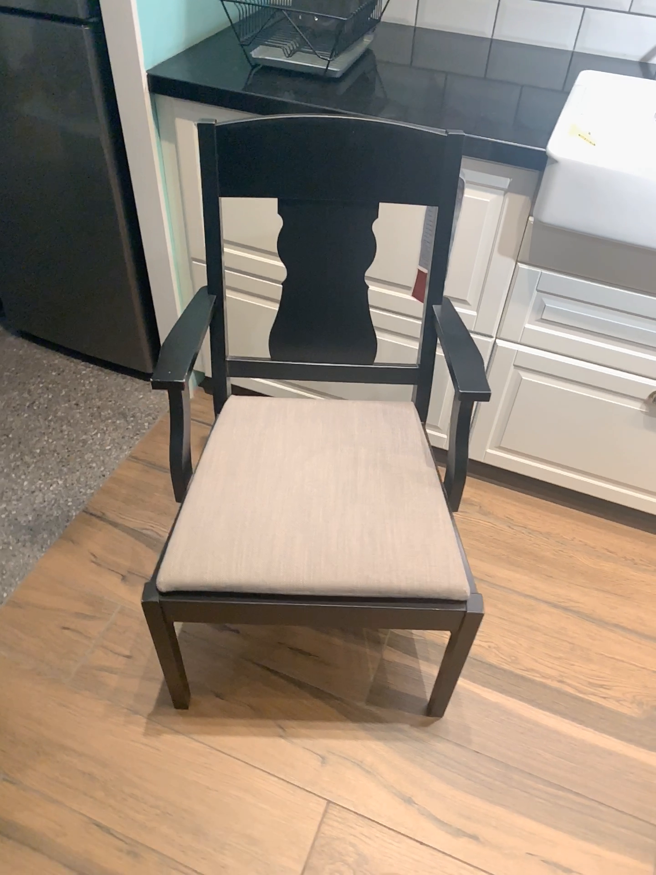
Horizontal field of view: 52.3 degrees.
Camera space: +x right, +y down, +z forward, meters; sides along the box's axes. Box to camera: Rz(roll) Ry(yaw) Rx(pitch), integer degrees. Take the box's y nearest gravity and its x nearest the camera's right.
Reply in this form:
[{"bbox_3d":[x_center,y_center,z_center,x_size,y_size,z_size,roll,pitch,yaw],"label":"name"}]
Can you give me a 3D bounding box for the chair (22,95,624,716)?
[{"bbox_3d":[-0.014,-0.002,1.155,0.570,0.887,0.592,2,46,-1],"label":"chair"}]
